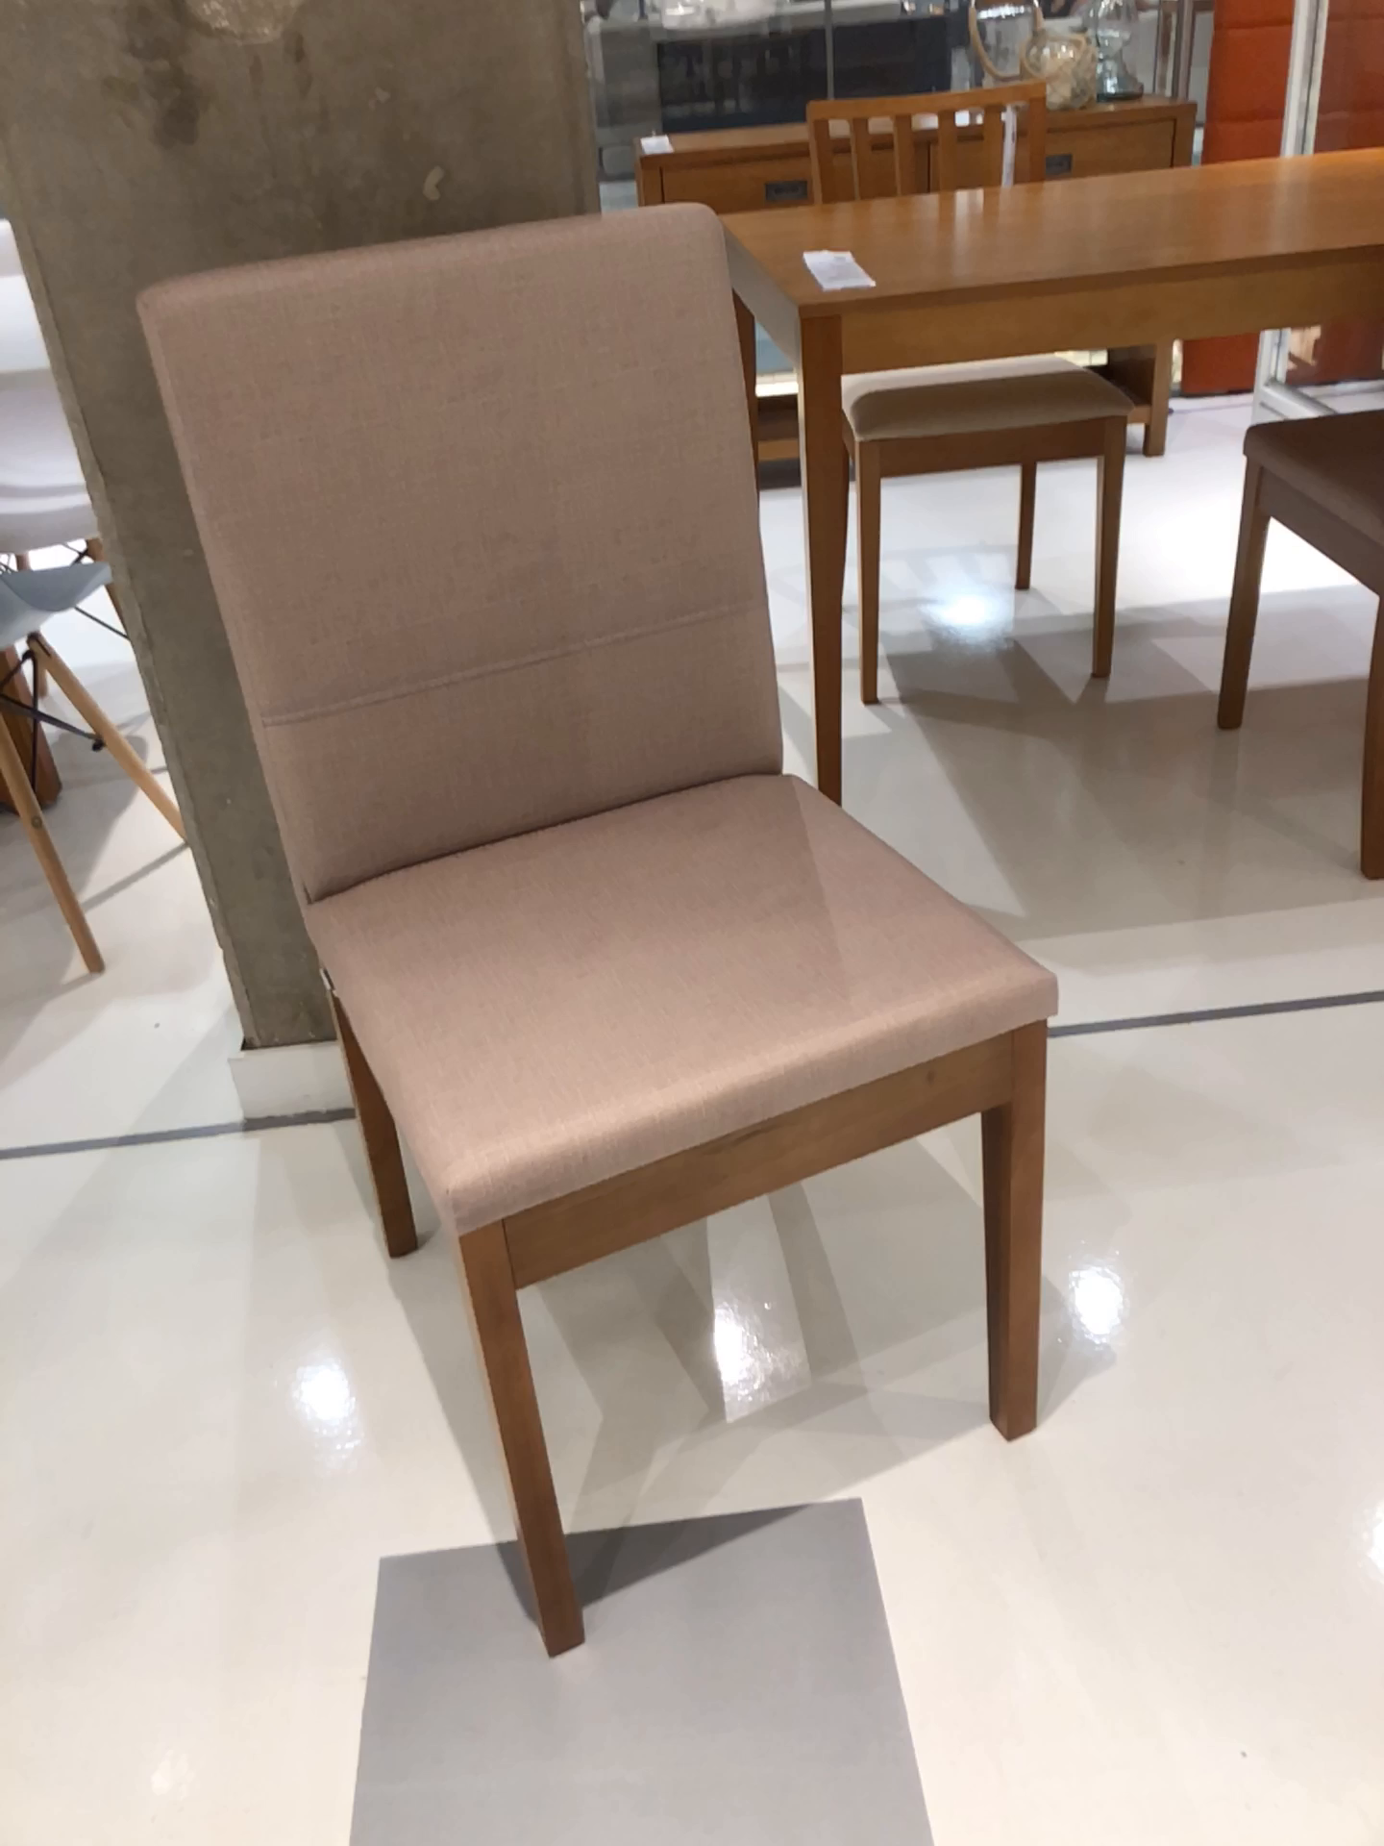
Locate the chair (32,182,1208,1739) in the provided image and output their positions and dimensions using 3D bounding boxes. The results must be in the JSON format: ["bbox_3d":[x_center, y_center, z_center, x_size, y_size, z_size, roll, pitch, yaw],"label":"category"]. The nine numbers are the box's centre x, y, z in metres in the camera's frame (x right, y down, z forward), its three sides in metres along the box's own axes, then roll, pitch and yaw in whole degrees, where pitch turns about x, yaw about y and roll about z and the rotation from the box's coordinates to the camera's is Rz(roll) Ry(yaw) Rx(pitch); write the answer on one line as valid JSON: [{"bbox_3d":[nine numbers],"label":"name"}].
[{"bbox_3d":[-0.056,-0.002,1.171,0.561,0.933,0.543,-17,33,-18],"label":"chair"}]
